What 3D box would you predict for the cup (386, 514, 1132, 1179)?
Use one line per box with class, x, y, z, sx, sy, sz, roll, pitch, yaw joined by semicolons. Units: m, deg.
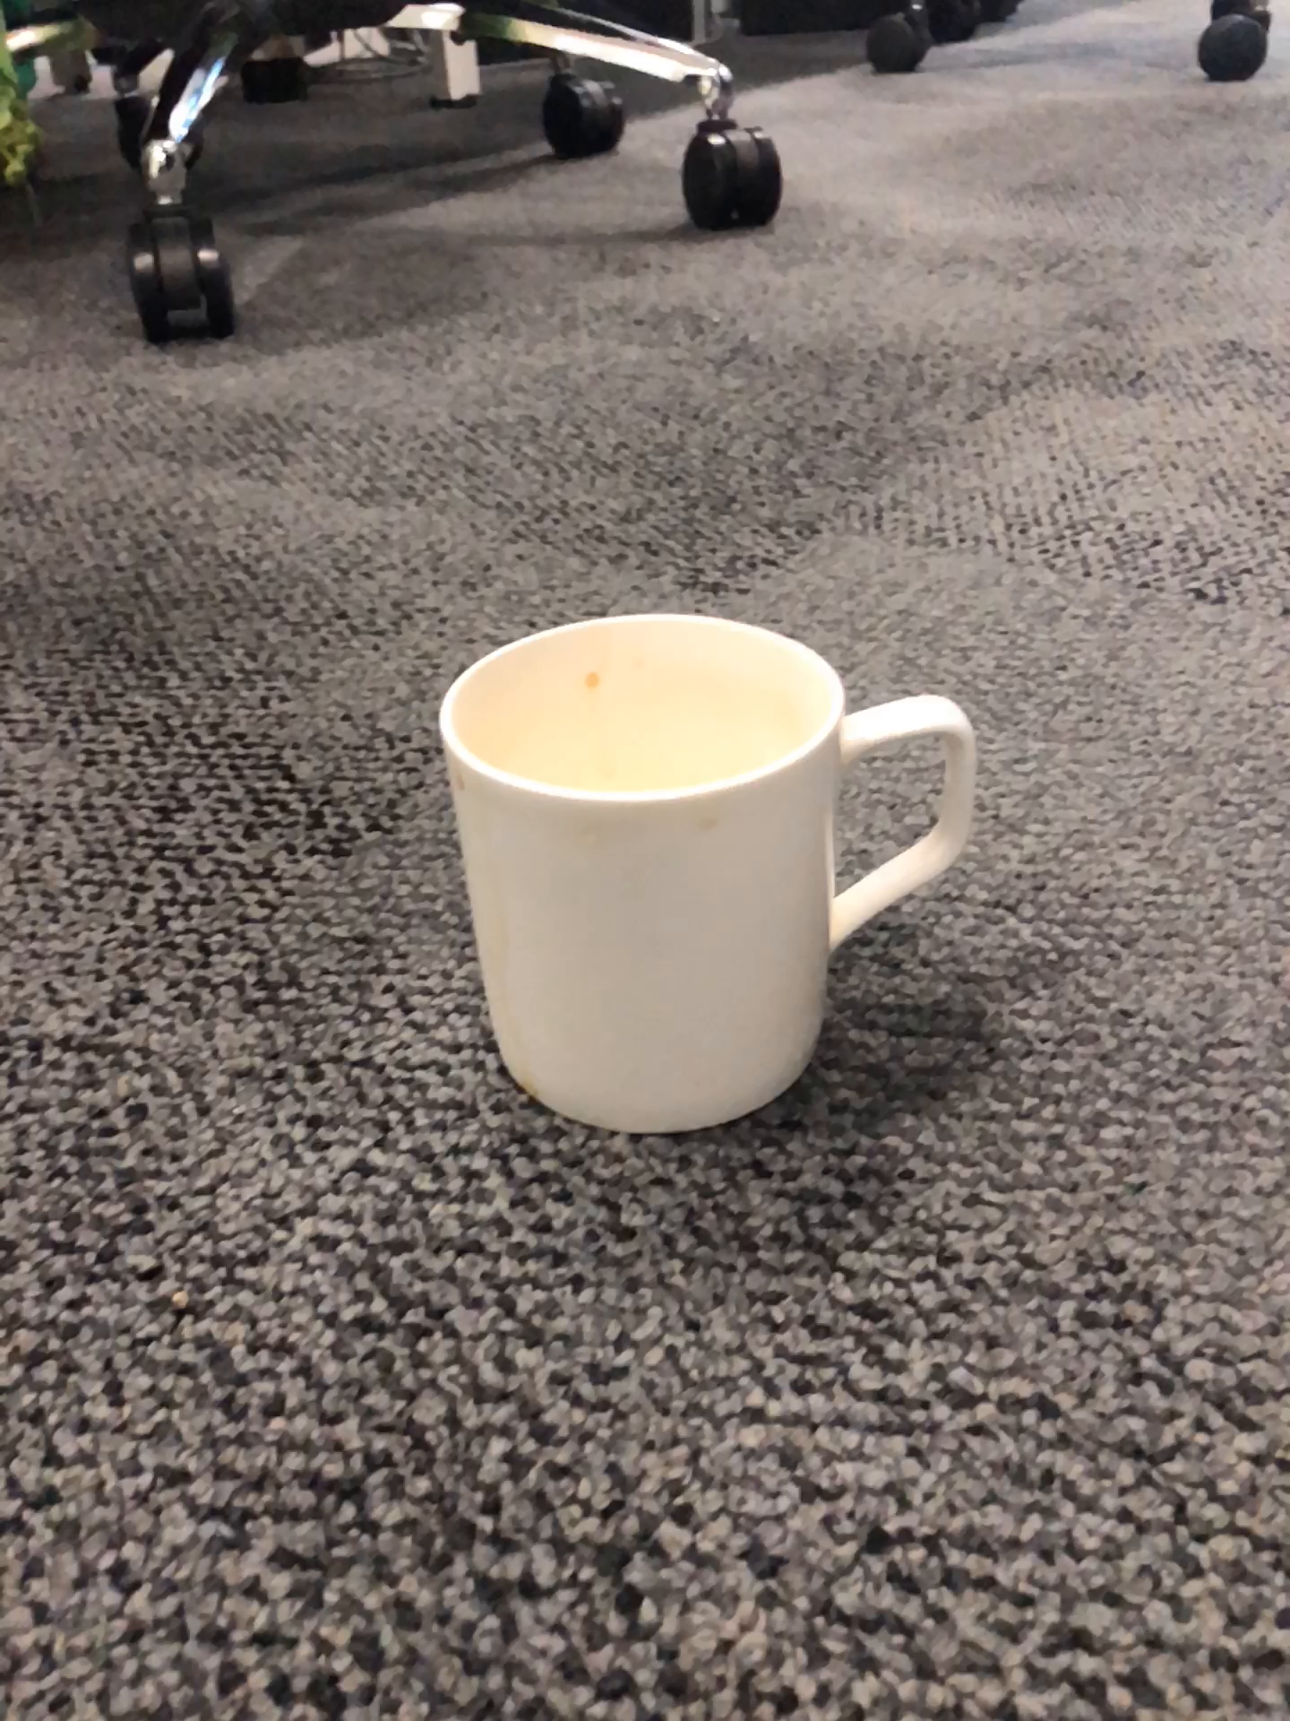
cup;0.016;-0.007;0.248;0.100;0.070;0.070;-12;34;-13
